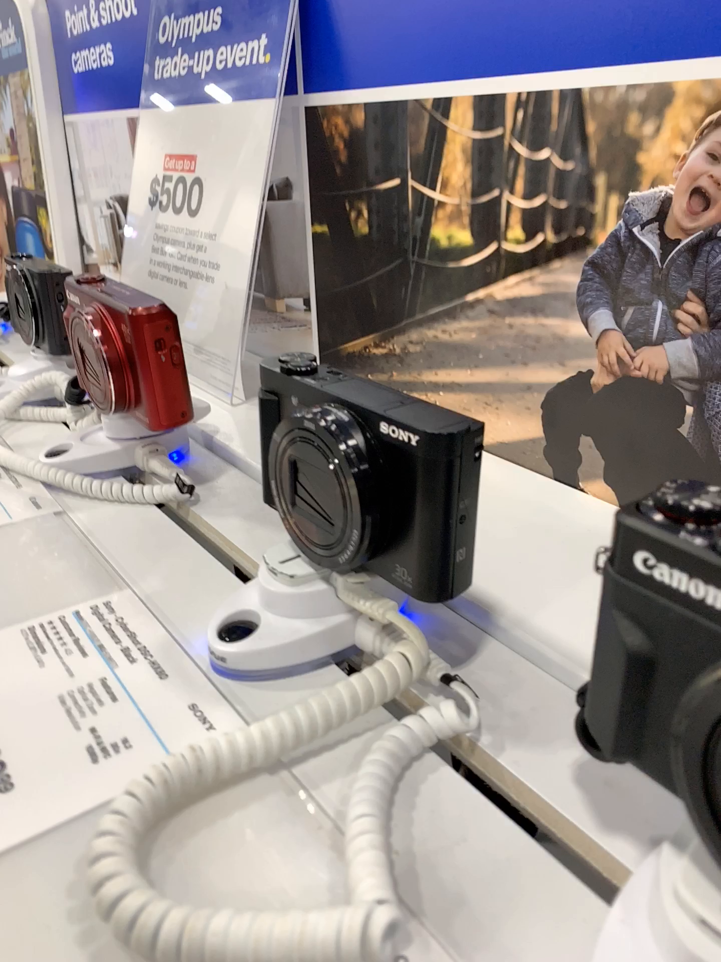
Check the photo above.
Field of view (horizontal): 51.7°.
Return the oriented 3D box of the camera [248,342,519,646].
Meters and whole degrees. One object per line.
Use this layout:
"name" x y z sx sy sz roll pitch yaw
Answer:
"camera" 0.002 -0.002 0.265 0.030 0.070 0.110 -16 28 -33
